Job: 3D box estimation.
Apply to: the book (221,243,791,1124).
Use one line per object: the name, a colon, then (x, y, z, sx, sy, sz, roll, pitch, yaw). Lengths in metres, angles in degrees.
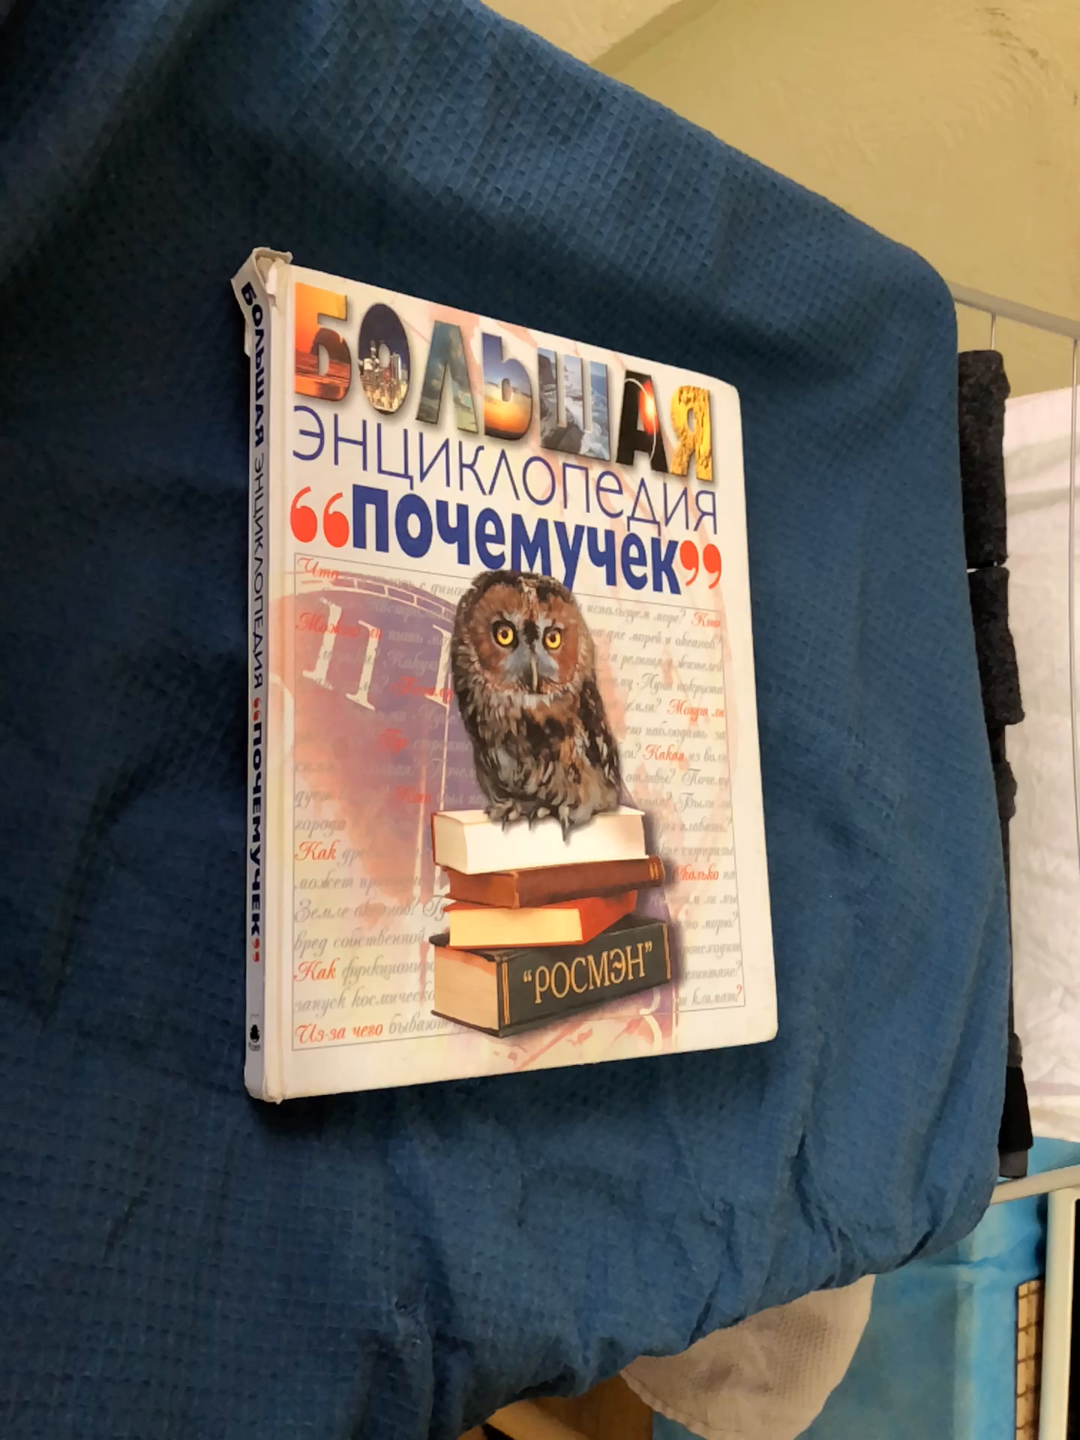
book: (-0.006, -0.013, 0.478, 0.236, 0.030, 0.305, 4, 79, -32)
